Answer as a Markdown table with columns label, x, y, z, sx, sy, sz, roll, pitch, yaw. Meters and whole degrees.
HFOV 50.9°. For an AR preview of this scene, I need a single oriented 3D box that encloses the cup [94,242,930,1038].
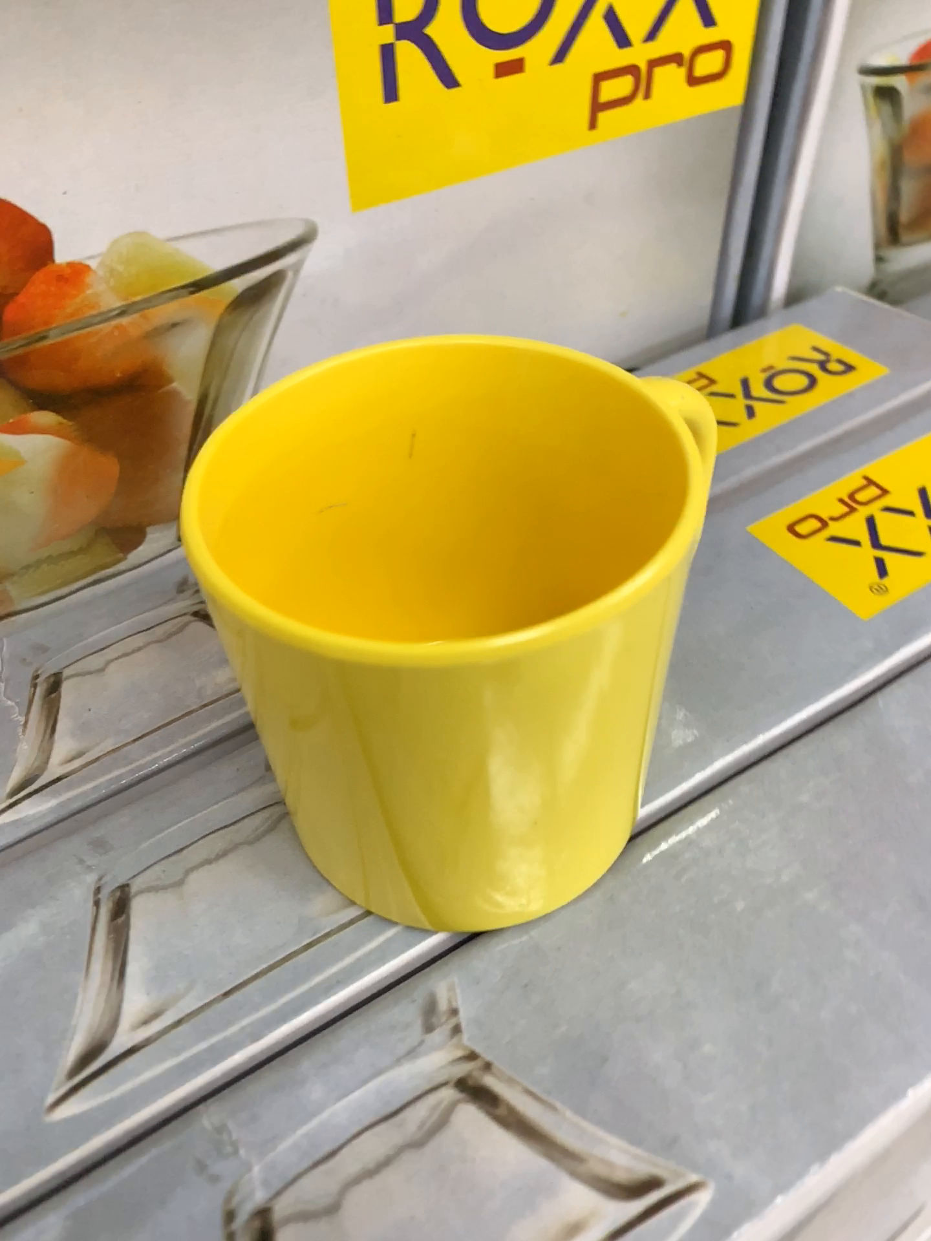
| label | x | y | z | sx | sy | sz | roll | pitch | yaw |
| --- | --- | --- | --- | --- | --- | --- | --- | --- | --- |
| cup | 0.008 | -0.004 | 0.160 | 0.096 | 0.069 | 0.072 | -27 | 49 | -25 |
